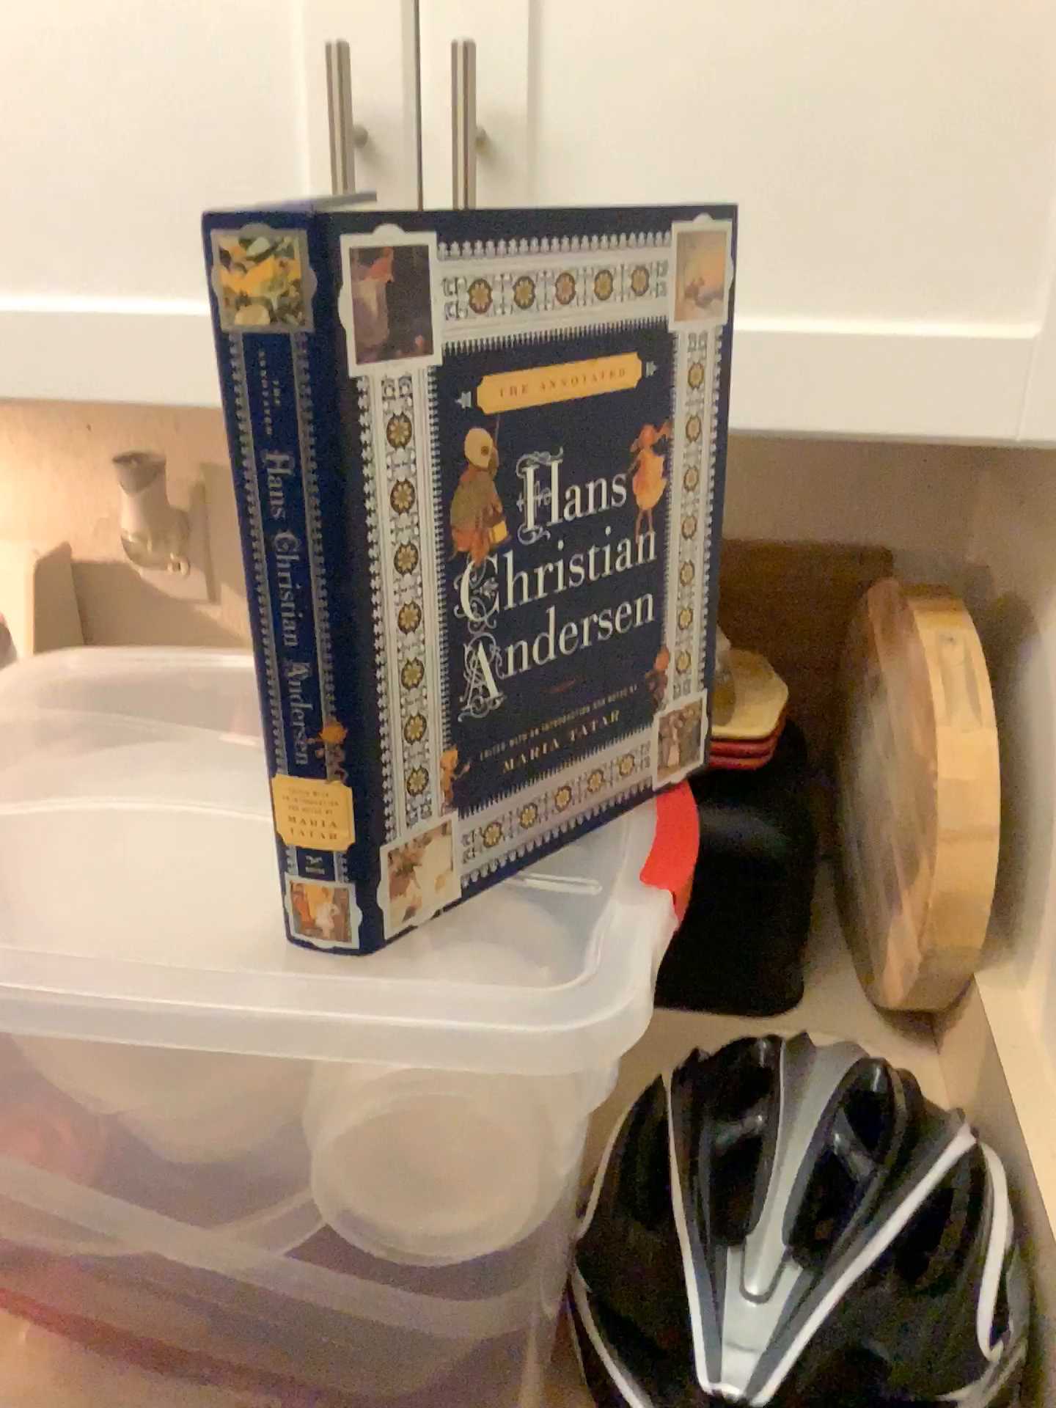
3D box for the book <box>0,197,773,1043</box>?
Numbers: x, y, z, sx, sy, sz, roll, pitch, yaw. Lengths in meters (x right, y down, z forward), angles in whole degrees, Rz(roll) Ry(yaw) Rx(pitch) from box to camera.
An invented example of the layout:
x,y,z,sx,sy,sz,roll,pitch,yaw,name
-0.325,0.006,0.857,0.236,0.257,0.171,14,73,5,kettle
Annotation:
x,y,z,sx,sy,sz,roll,pitch,yaw,name
-0.033,-0.065,0.490,0.200,0.260,0.250,10,26,17,book
